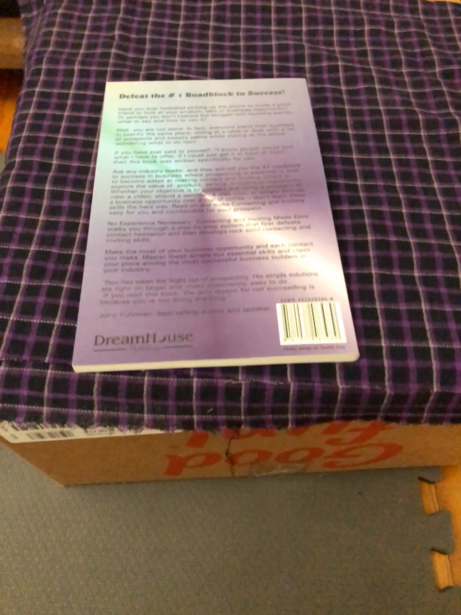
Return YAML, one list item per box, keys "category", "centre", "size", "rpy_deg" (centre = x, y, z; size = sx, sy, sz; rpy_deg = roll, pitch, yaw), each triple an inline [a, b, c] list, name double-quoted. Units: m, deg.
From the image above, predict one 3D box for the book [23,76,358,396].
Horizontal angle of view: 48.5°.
- category: "book"
  centre: [-0.024, -0.059, 0.309]
  size: [0.160, 0.020, 0.221]
  rpy_deg: [-2, 60, -2]
